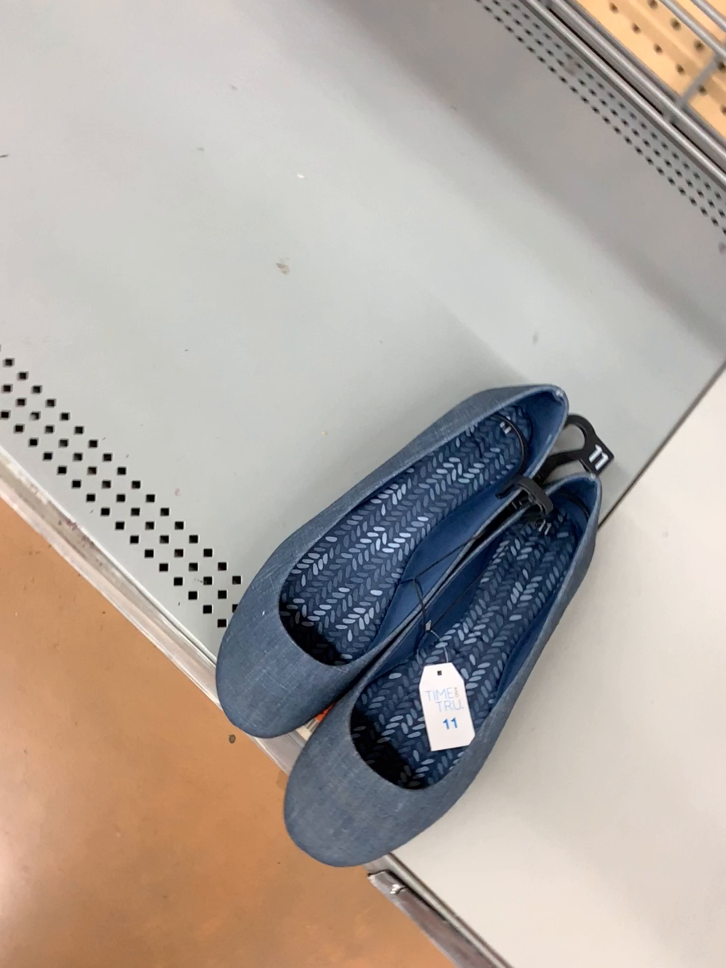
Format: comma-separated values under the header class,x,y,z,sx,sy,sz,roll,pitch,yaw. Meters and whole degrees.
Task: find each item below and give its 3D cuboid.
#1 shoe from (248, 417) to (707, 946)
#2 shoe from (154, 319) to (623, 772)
class,x,y,z,sx,sy,sz,roll,pitch,yaw
shoe,0.067,0.100,0.431,0.090,0.090,0.280,41,71,8
shoe,0.020,0.032,0.451,0.280,0.090,0.090,-42,83,-19
